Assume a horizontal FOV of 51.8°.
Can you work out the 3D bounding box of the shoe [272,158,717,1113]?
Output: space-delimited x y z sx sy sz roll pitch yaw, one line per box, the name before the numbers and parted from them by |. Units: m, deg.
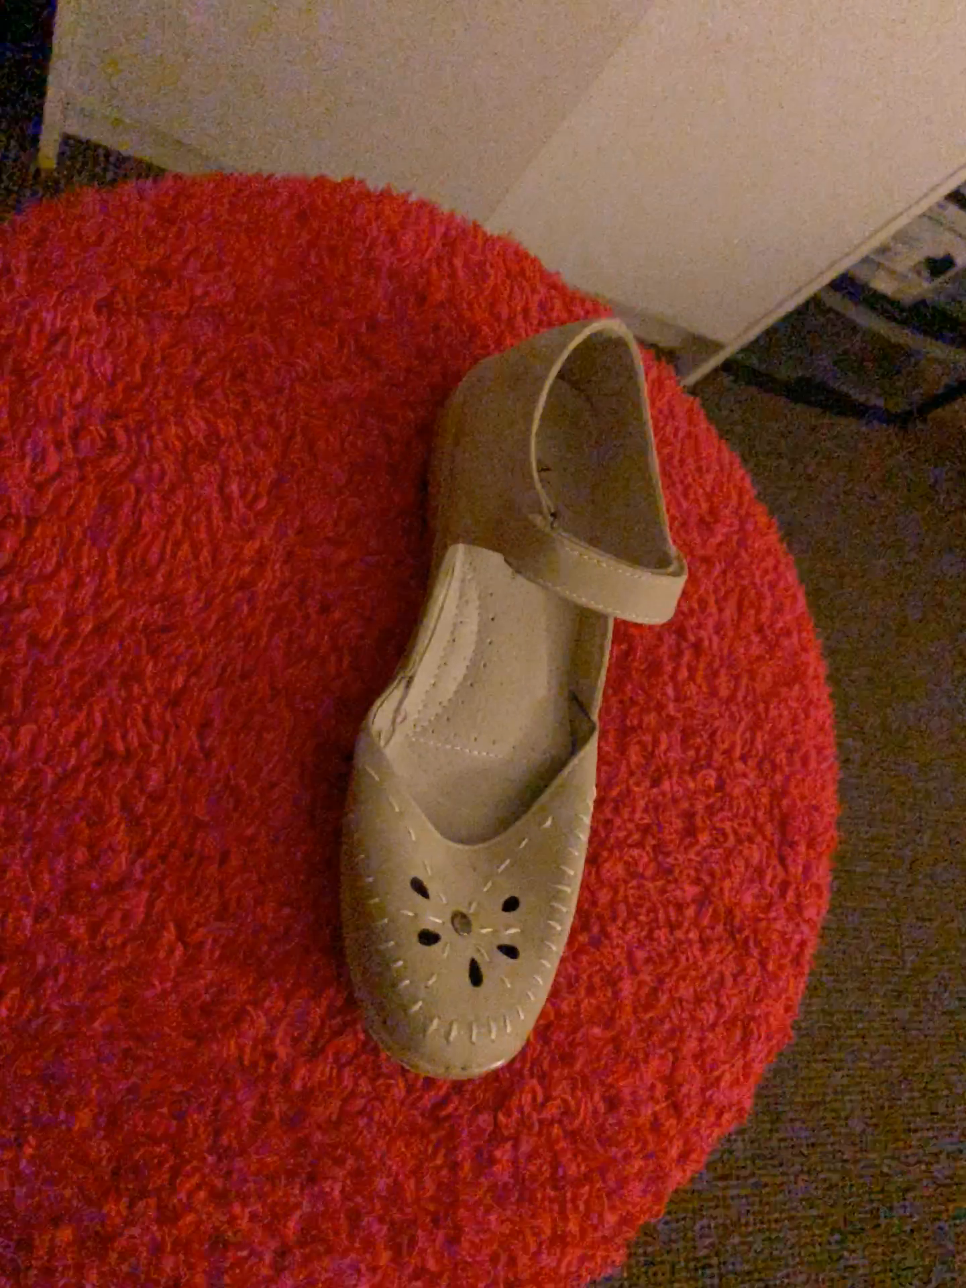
shoe | 0.013 -0.010 0.354 0.096 0.079 0.307 17 66 -23
